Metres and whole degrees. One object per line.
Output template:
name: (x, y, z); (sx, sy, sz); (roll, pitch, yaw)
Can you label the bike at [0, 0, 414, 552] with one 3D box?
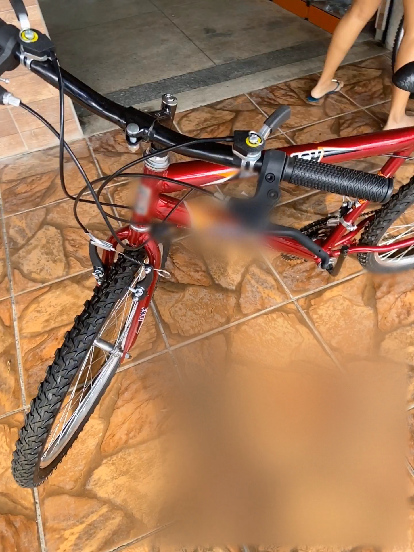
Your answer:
bike: (0.310, -0.016, 0.864); (1.558, 0.986, 0.601); (-27, 50, -13)
